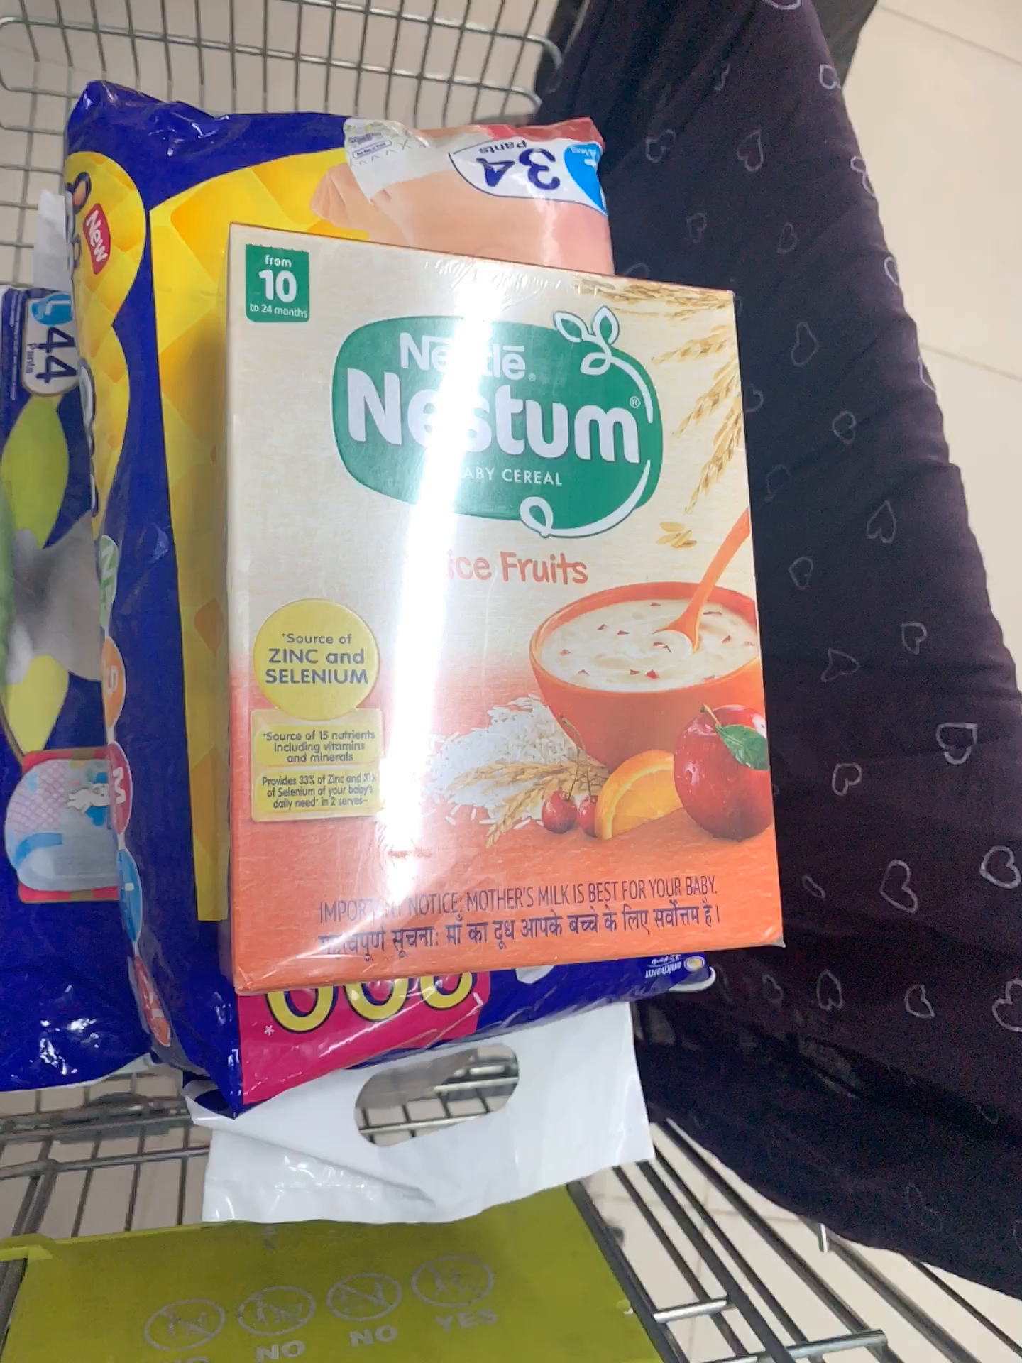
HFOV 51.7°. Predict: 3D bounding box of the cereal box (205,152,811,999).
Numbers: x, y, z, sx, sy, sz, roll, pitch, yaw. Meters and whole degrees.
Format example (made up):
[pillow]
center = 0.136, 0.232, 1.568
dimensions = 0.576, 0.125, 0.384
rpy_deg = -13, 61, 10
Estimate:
[cereal box]
center = -0.004, -0.027, 0.305
dimensions = 0.160, 0.050, 0.210
rpy_deg = 0, 83, -18
